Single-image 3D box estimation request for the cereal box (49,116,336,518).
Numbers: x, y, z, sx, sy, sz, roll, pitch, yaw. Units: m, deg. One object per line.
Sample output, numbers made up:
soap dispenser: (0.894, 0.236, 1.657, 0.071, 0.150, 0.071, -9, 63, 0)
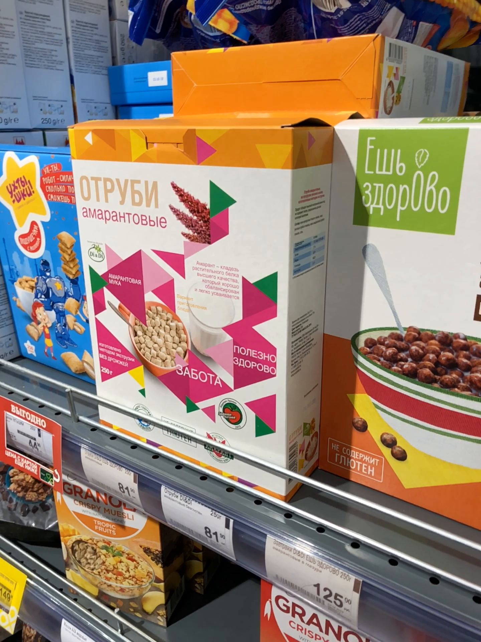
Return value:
cereal box: (-0.039, -0.013, 0.400, 0.200, 0.259, 0.060, 13, 24, 33)
